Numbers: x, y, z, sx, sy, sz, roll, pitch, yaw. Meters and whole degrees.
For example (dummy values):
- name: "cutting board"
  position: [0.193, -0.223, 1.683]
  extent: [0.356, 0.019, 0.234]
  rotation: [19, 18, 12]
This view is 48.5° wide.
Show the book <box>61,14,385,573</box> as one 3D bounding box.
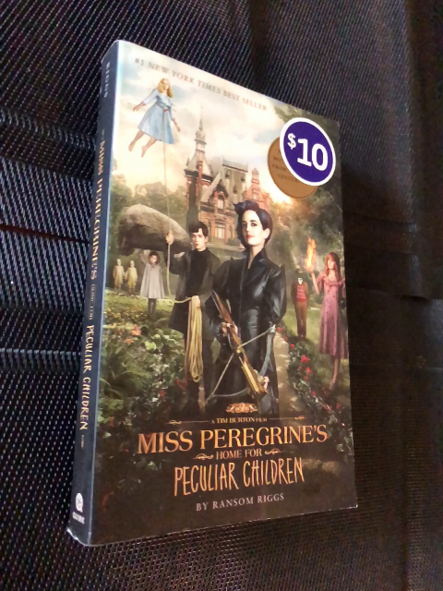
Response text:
- name: "book"
  position: [0.012, 0.001, 0.263]
  extent: [0.161, 0.050, 0.230]
  rotation: [8, 79, -32]
